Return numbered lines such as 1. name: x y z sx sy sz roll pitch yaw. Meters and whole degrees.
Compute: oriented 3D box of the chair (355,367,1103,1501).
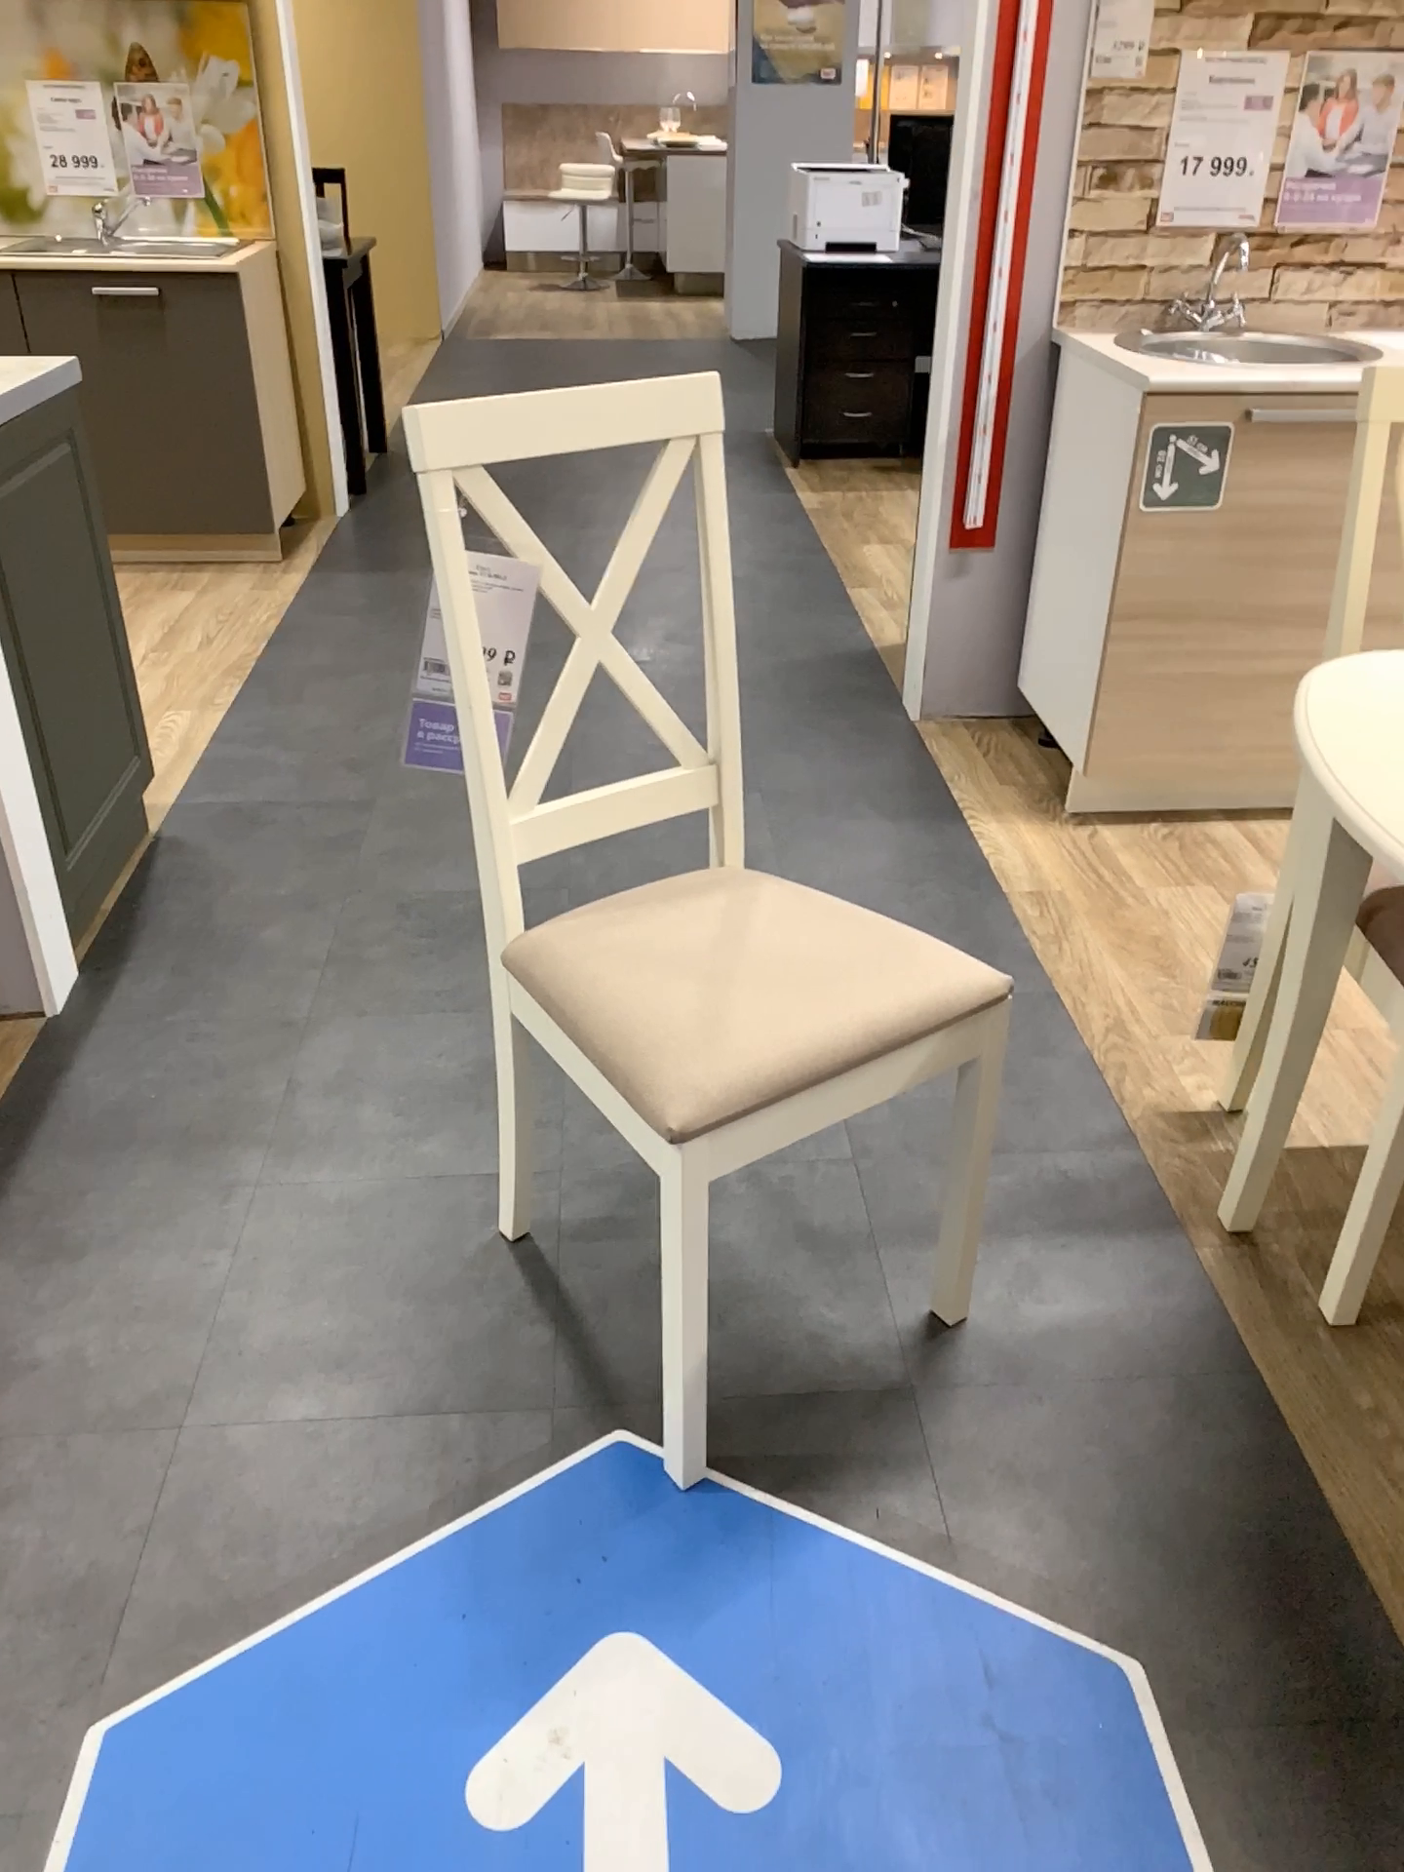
1. chair: -0.001 -0.021 1.522 0.436 0.989 0.529 -19 36 -31
